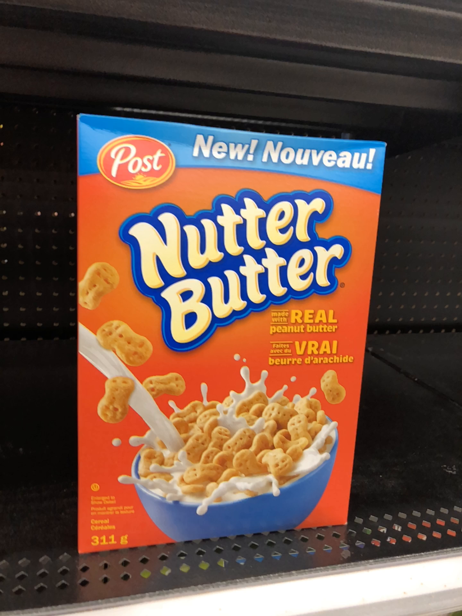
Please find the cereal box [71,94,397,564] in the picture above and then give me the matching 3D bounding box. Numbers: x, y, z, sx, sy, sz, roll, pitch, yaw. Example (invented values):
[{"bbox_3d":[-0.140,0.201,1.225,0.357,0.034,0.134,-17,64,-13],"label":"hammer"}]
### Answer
[{"bbox_3d":[-0.005,0.018,0.345,0.190,0.279,0.060,0,12,-14],"label":"cereal box"}]
